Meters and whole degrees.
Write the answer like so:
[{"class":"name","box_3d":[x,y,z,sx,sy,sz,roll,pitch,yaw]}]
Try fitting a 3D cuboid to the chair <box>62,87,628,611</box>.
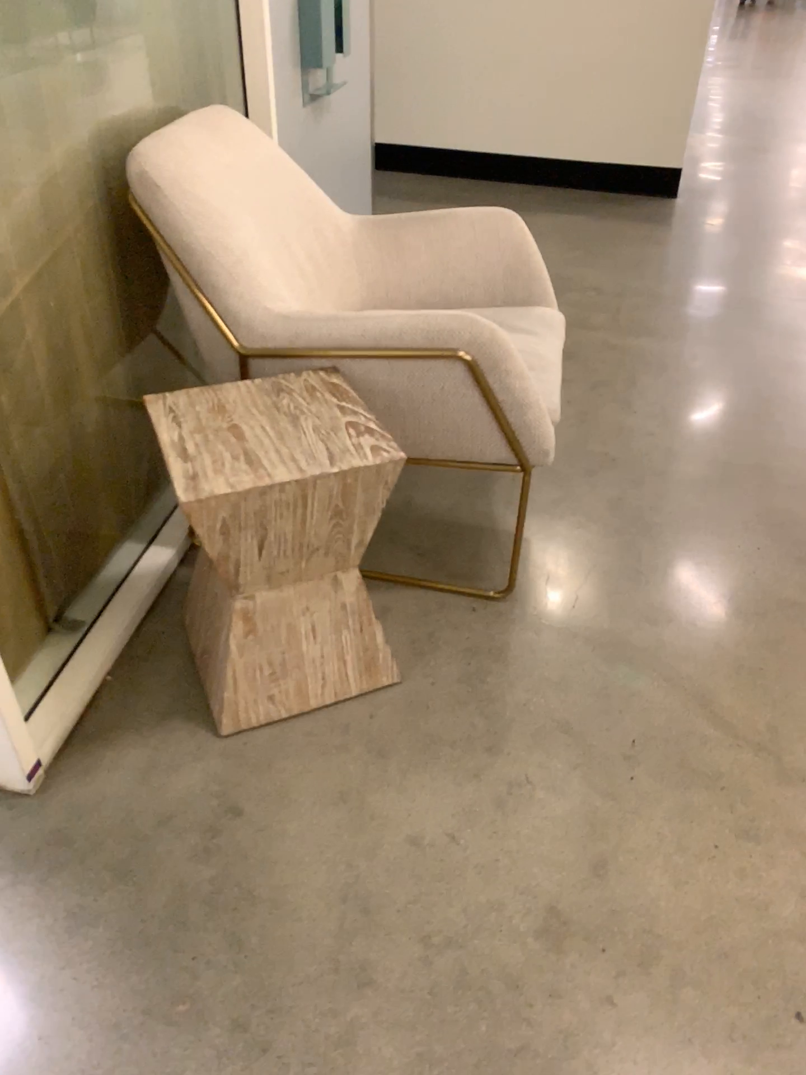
[{"class":"chair","box_3d":[-0.056,-0.447,1.787,0.880,0.815,0.754,6,37,7]}]
